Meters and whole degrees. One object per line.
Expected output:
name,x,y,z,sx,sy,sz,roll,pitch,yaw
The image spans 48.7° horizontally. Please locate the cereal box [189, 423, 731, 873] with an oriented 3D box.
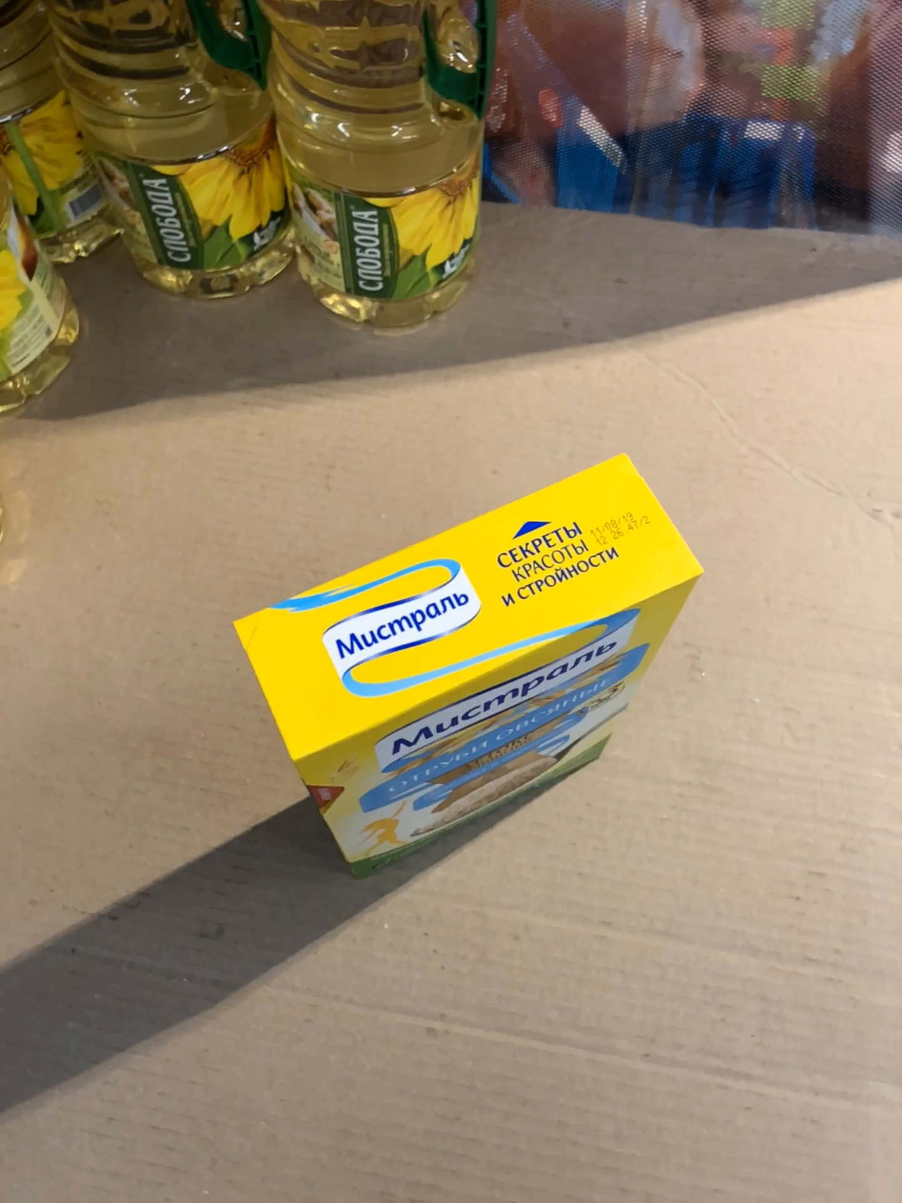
cereal box,0.005,0.035,0.385,0.150,0.210,0.050,-23,68,-8
